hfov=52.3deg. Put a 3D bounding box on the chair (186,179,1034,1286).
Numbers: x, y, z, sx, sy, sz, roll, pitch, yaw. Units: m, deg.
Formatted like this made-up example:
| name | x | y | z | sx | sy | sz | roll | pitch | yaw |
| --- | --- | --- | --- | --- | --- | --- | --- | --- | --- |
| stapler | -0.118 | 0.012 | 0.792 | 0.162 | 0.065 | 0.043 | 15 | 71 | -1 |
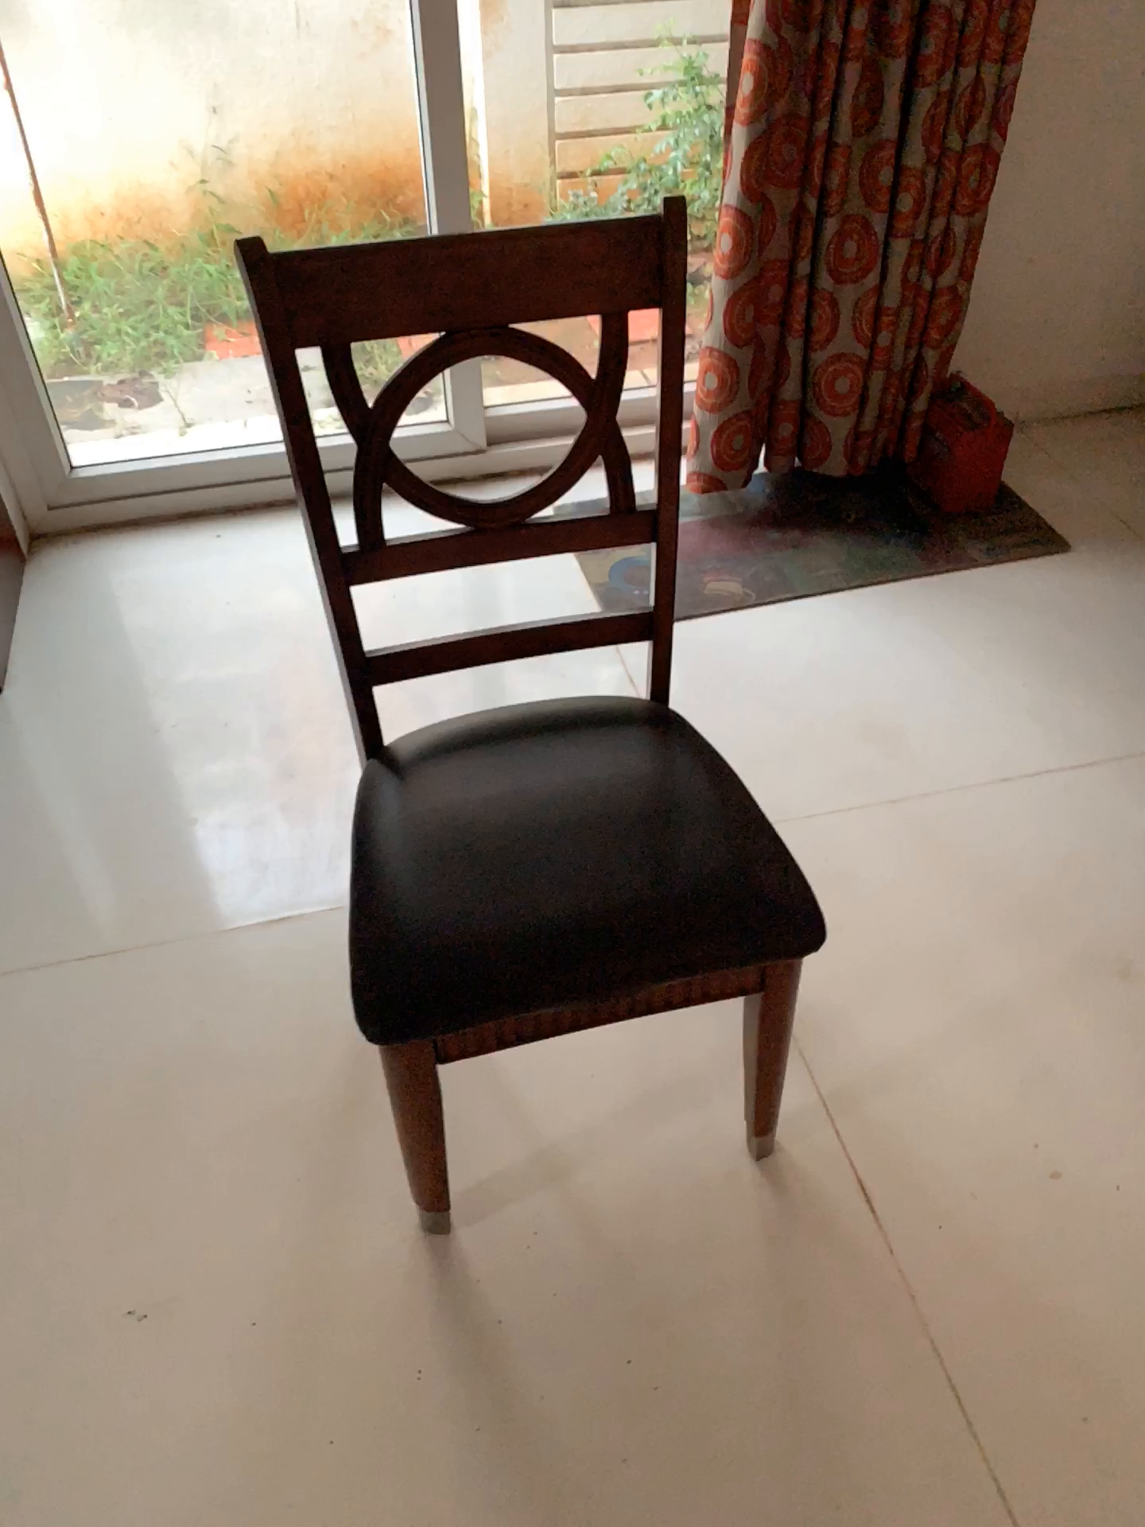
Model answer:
| name | x | y | z | sx | sy | sz | roll | pitch | yaw |
| --- | --- | --- | --- | --- | --- | --- | --- | --- | --- |
| chair | -0.025 | 0.007 | 1.342 | 0.570 | 1.026 | 0.643 | -10 | 45 | -9 |
